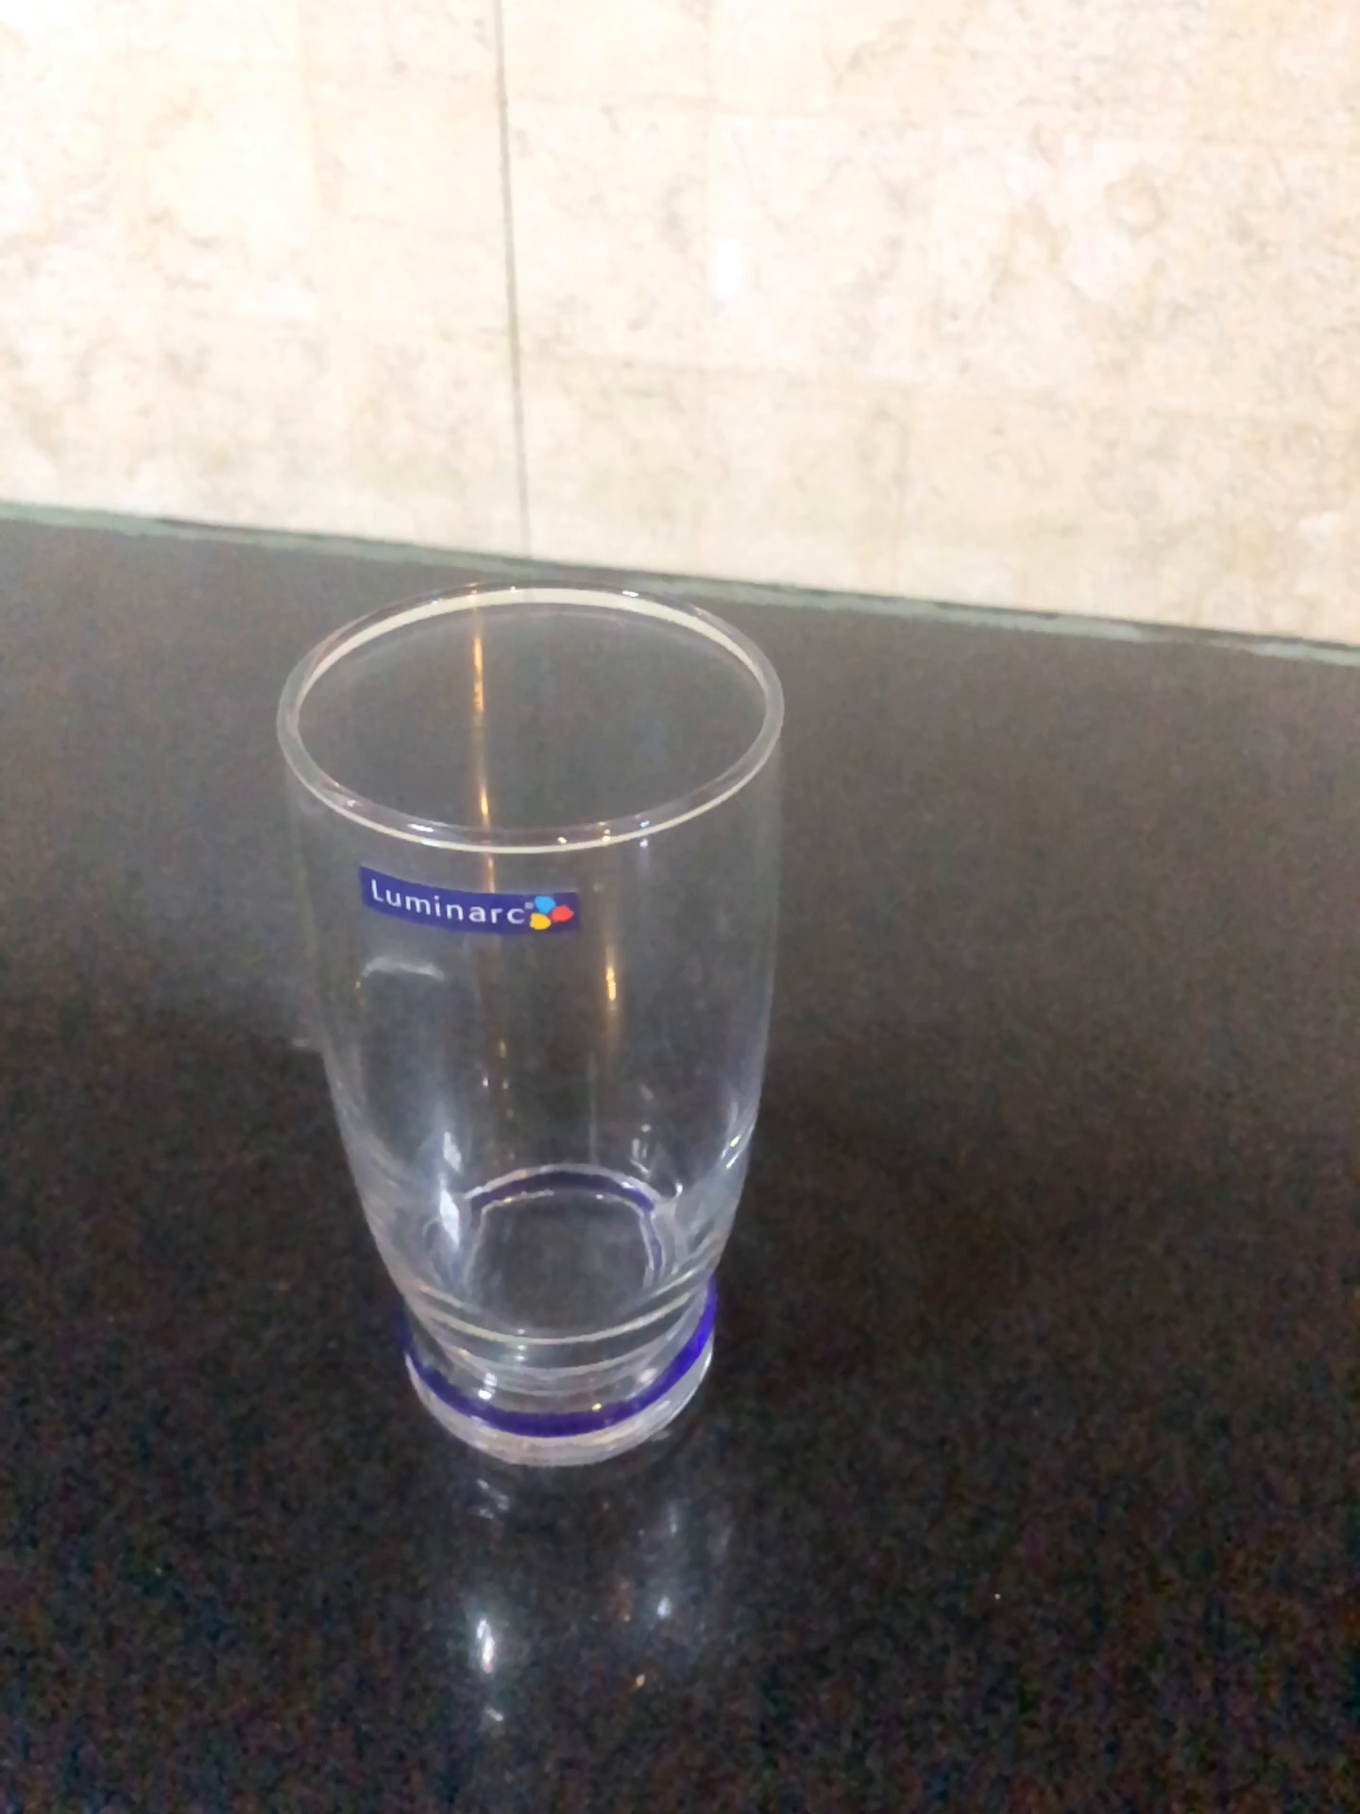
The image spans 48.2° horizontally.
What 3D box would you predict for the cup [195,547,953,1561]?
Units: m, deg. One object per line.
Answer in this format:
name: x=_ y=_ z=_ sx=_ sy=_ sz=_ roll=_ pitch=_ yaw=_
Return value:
cup: x=-0.011 y=0.024 z=0.231 sx=0.080 sy=0.129 sz=0.081 roll=1 pitch=37 yaw=0
